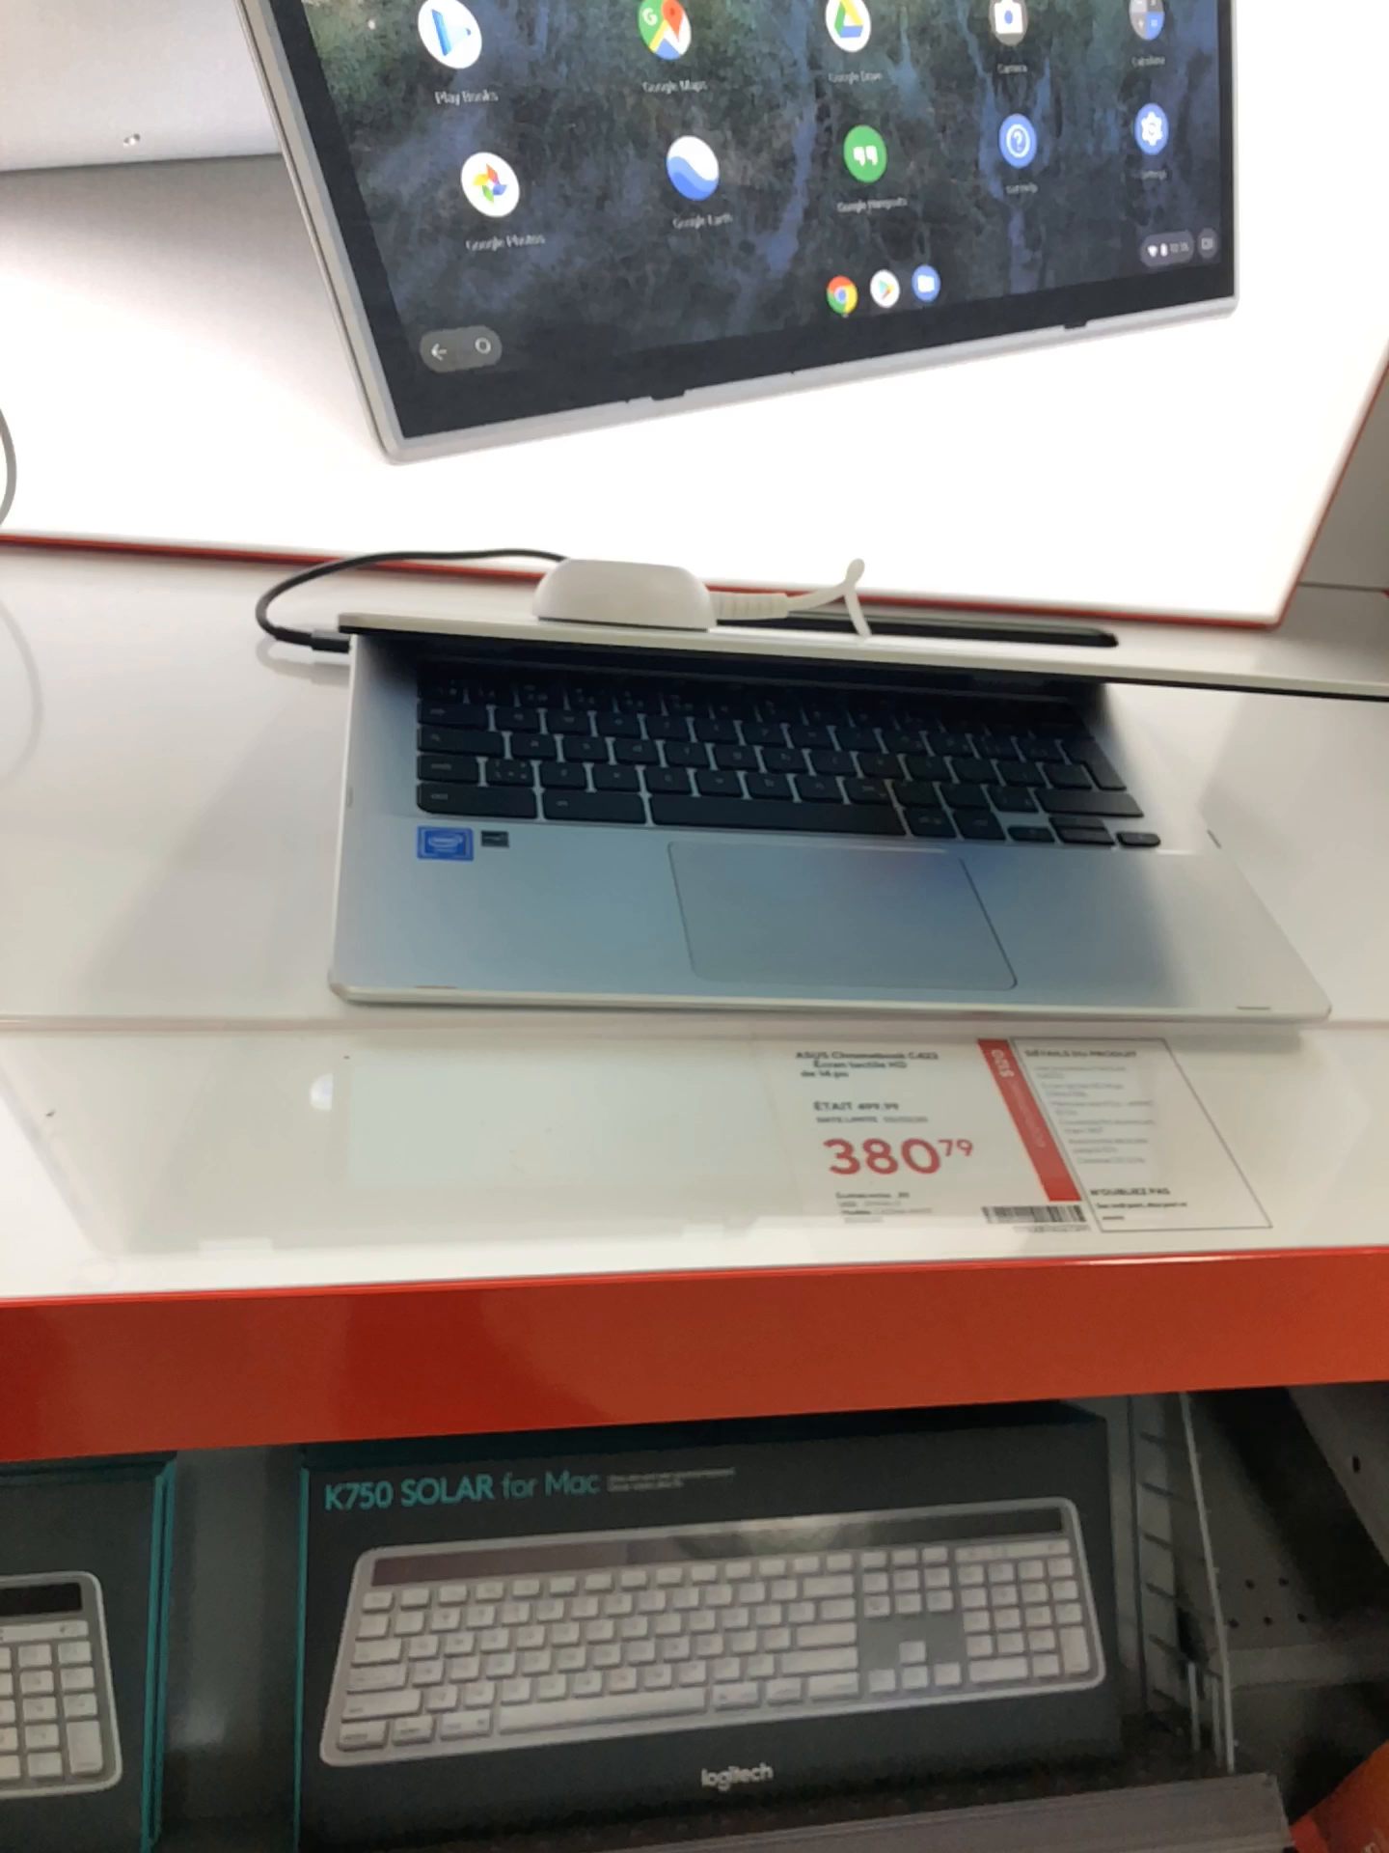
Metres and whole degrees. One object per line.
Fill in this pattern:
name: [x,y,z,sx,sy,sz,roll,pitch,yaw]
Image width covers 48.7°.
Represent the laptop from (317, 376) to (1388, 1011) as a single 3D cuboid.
laptop: [0.042,-0.085,0.525,0.317,0.100,0.226,2,37,-12]
